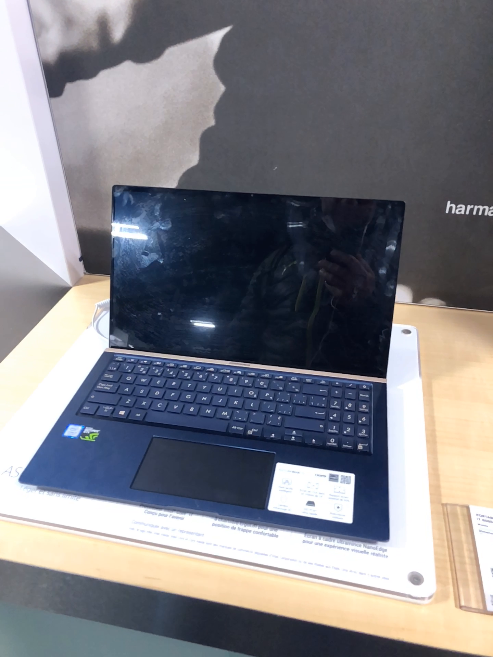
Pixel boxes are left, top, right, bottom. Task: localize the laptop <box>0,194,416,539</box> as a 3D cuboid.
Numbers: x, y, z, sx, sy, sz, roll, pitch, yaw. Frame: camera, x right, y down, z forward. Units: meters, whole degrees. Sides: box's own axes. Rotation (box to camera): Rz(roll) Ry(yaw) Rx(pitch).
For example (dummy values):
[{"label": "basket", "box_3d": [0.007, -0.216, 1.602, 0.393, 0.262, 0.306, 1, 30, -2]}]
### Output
[{"label": "laptop", "box_3d": [-0.020, 0.005, 0.542, 0.331, 0.173, 0.293, 5, 34, 12]}]
